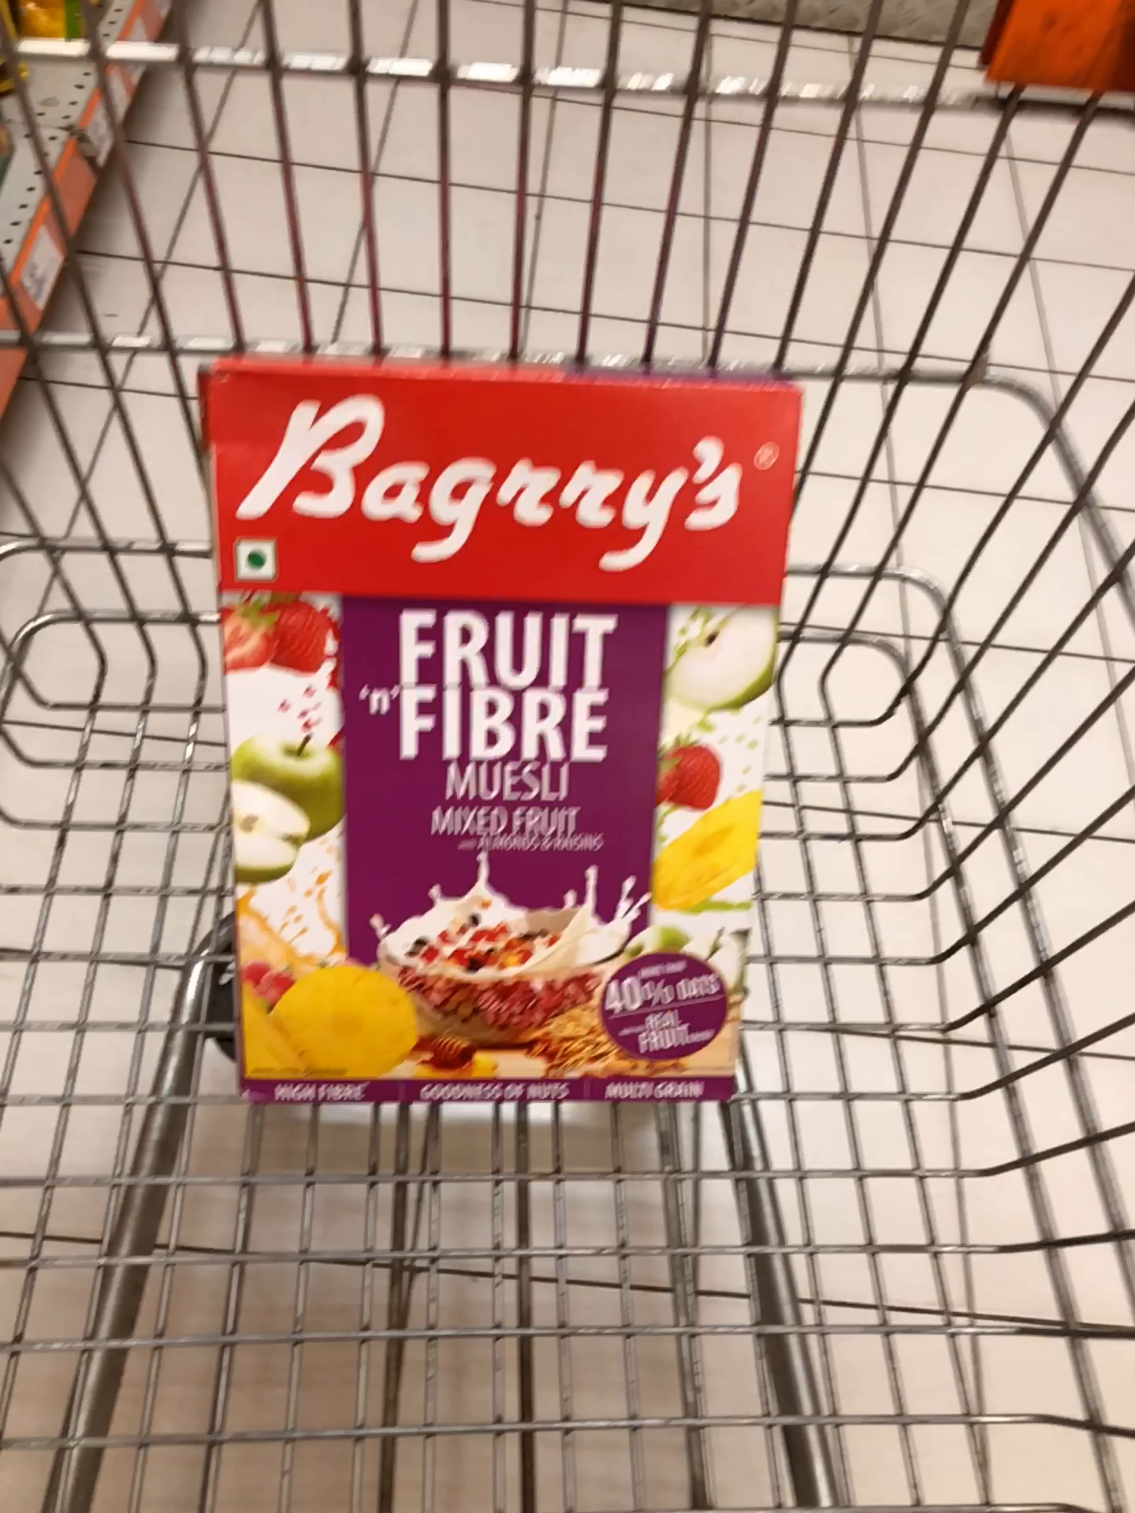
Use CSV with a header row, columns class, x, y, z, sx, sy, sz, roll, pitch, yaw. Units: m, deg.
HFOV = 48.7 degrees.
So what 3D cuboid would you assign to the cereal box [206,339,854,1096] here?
class,x,y,z,sx,sy,sz,roll,pitch,yaw
cereal box,-0.017,-0.010,0.439,0.190,0.249,0.070,1,18,-5
